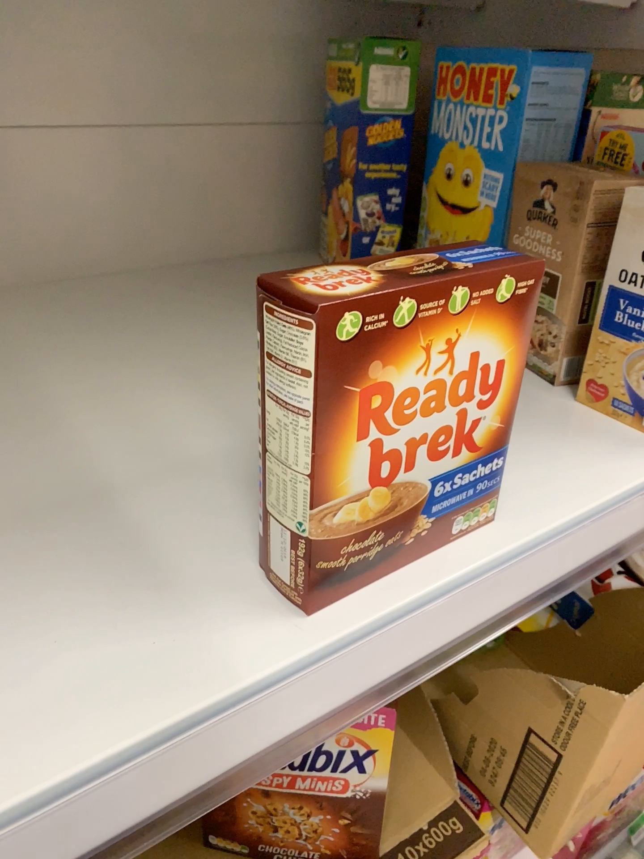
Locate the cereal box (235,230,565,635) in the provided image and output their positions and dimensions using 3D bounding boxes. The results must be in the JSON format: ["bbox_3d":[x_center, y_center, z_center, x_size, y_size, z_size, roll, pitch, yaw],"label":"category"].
[{"bbox_3d":[0.044,-0.006,0.391,0.181,0.188,0.060,-18,35,-34],"label":"cereal box"}]
